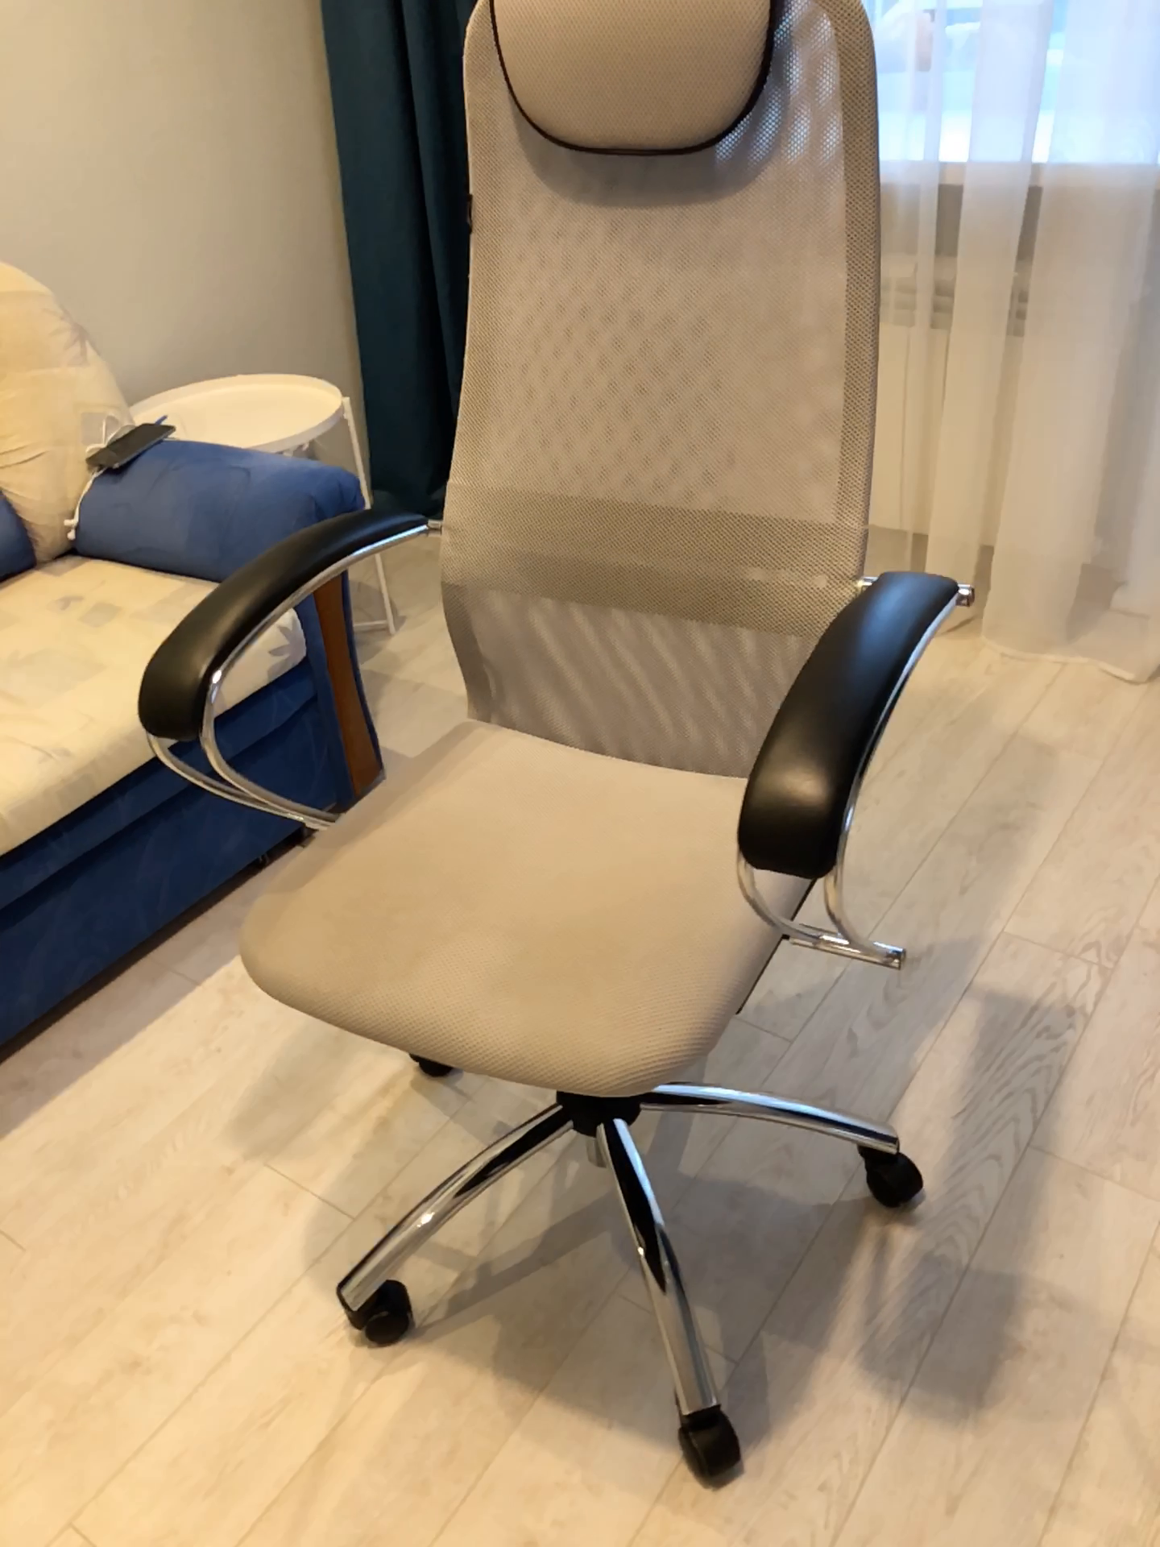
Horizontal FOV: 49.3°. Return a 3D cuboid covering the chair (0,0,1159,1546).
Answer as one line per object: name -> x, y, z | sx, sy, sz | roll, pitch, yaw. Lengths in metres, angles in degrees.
chair -> -0.009, -0.080, 1.114 | 0.681, 1.152, 0.694 | 15, 38, 30
